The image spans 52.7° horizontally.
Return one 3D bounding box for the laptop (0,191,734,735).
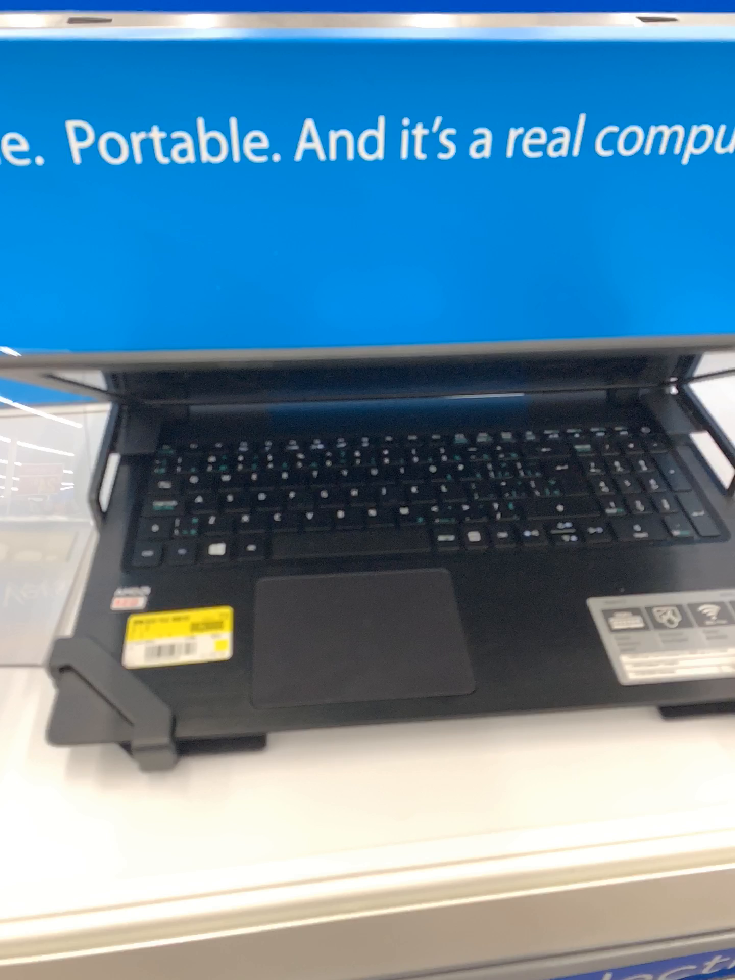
[{"bbox_3d":[0.038,-0.032,0.372,0.364,0.137,0.222,-2,45,-6],"label":"laptop"}]
